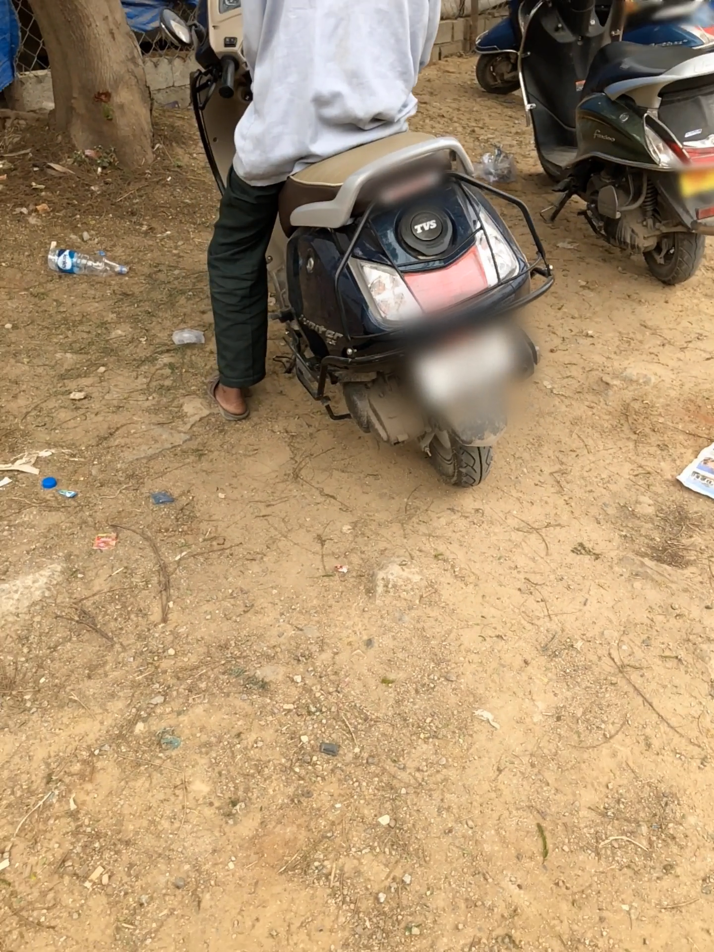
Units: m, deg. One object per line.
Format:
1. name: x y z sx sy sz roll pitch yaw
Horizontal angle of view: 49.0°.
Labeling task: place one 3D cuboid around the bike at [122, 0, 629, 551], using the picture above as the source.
1. bike: -0.076 -0.833 1.963 0.635 1.119 1.348 -11 44 -16
